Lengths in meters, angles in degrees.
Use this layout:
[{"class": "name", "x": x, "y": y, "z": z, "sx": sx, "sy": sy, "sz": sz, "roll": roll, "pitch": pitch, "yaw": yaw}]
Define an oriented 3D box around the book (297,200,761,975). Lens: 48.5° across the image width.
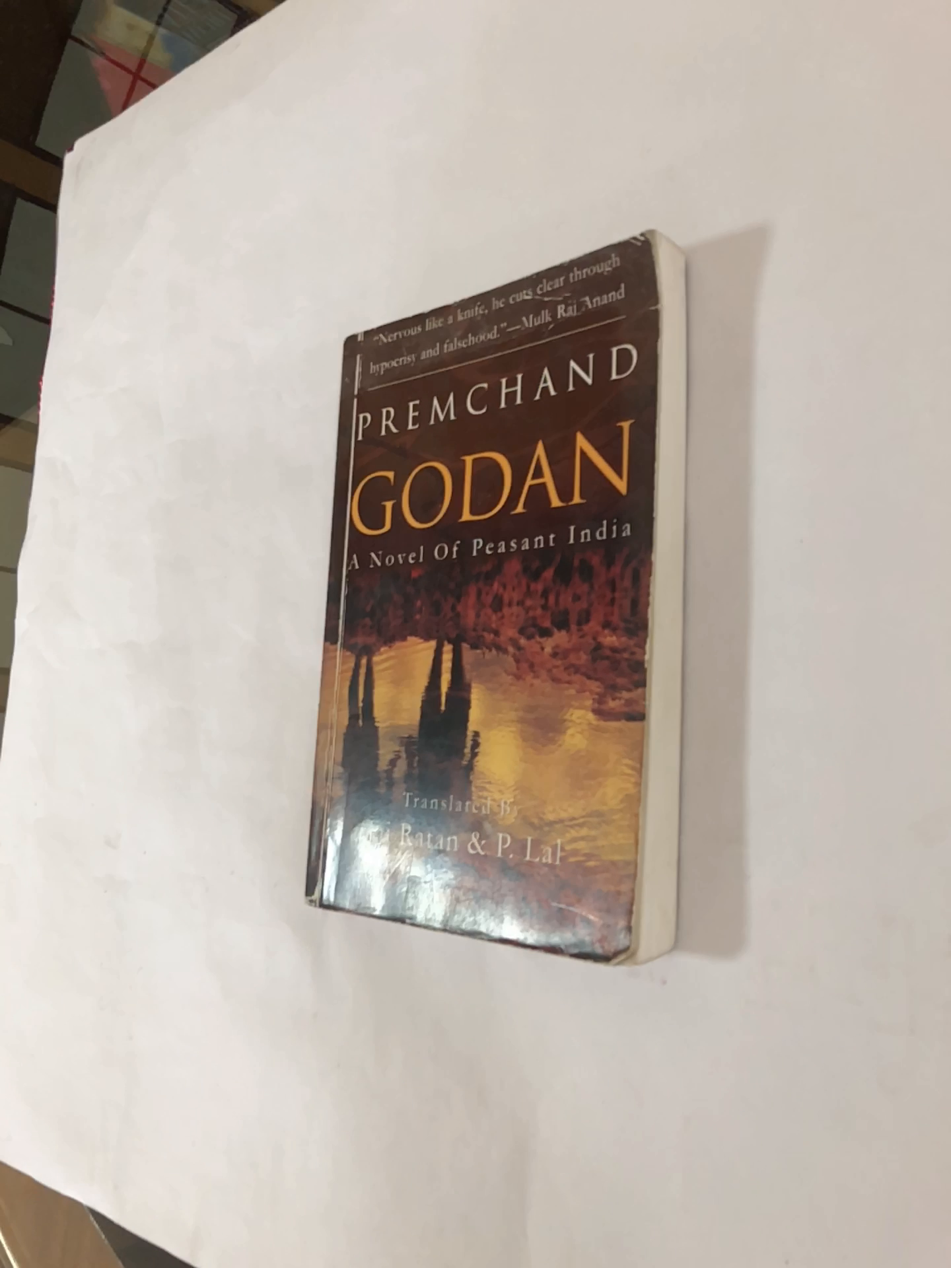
[{"class": "book", "x": 0.012, "y": -0.012, "z": 0.341, "sx": 0.151, "sy": 0.030, "sz": 0.210, "roll": -3, "pitch": 80, "yaw": 40}]
